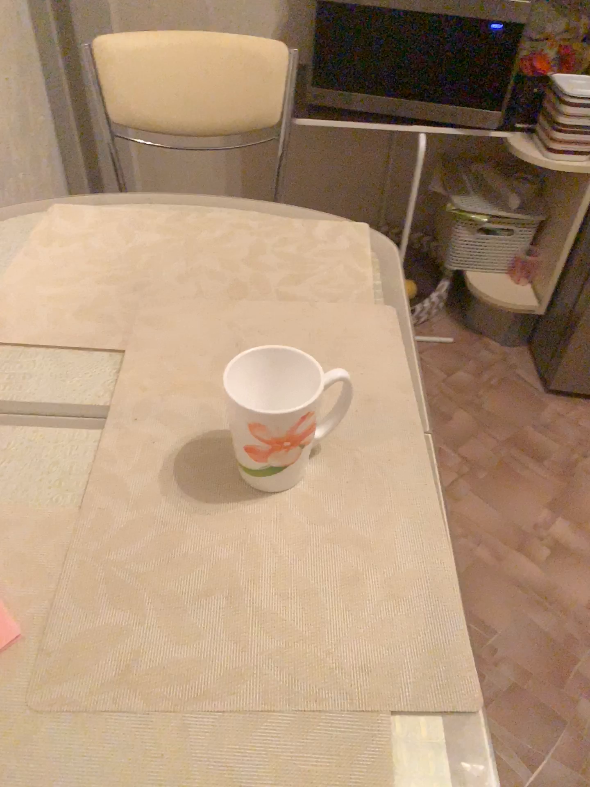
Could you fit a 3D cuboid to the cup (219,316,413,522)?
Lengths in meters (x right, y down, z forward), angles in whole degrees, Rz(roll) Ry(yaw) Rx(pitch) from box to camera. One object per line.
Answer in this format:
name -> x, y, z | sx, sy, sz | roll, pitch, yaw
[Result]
cup -> 0.013, 0.019, 0.485 | 0.120, 0.109, 0.081 | -18, 48, -21
